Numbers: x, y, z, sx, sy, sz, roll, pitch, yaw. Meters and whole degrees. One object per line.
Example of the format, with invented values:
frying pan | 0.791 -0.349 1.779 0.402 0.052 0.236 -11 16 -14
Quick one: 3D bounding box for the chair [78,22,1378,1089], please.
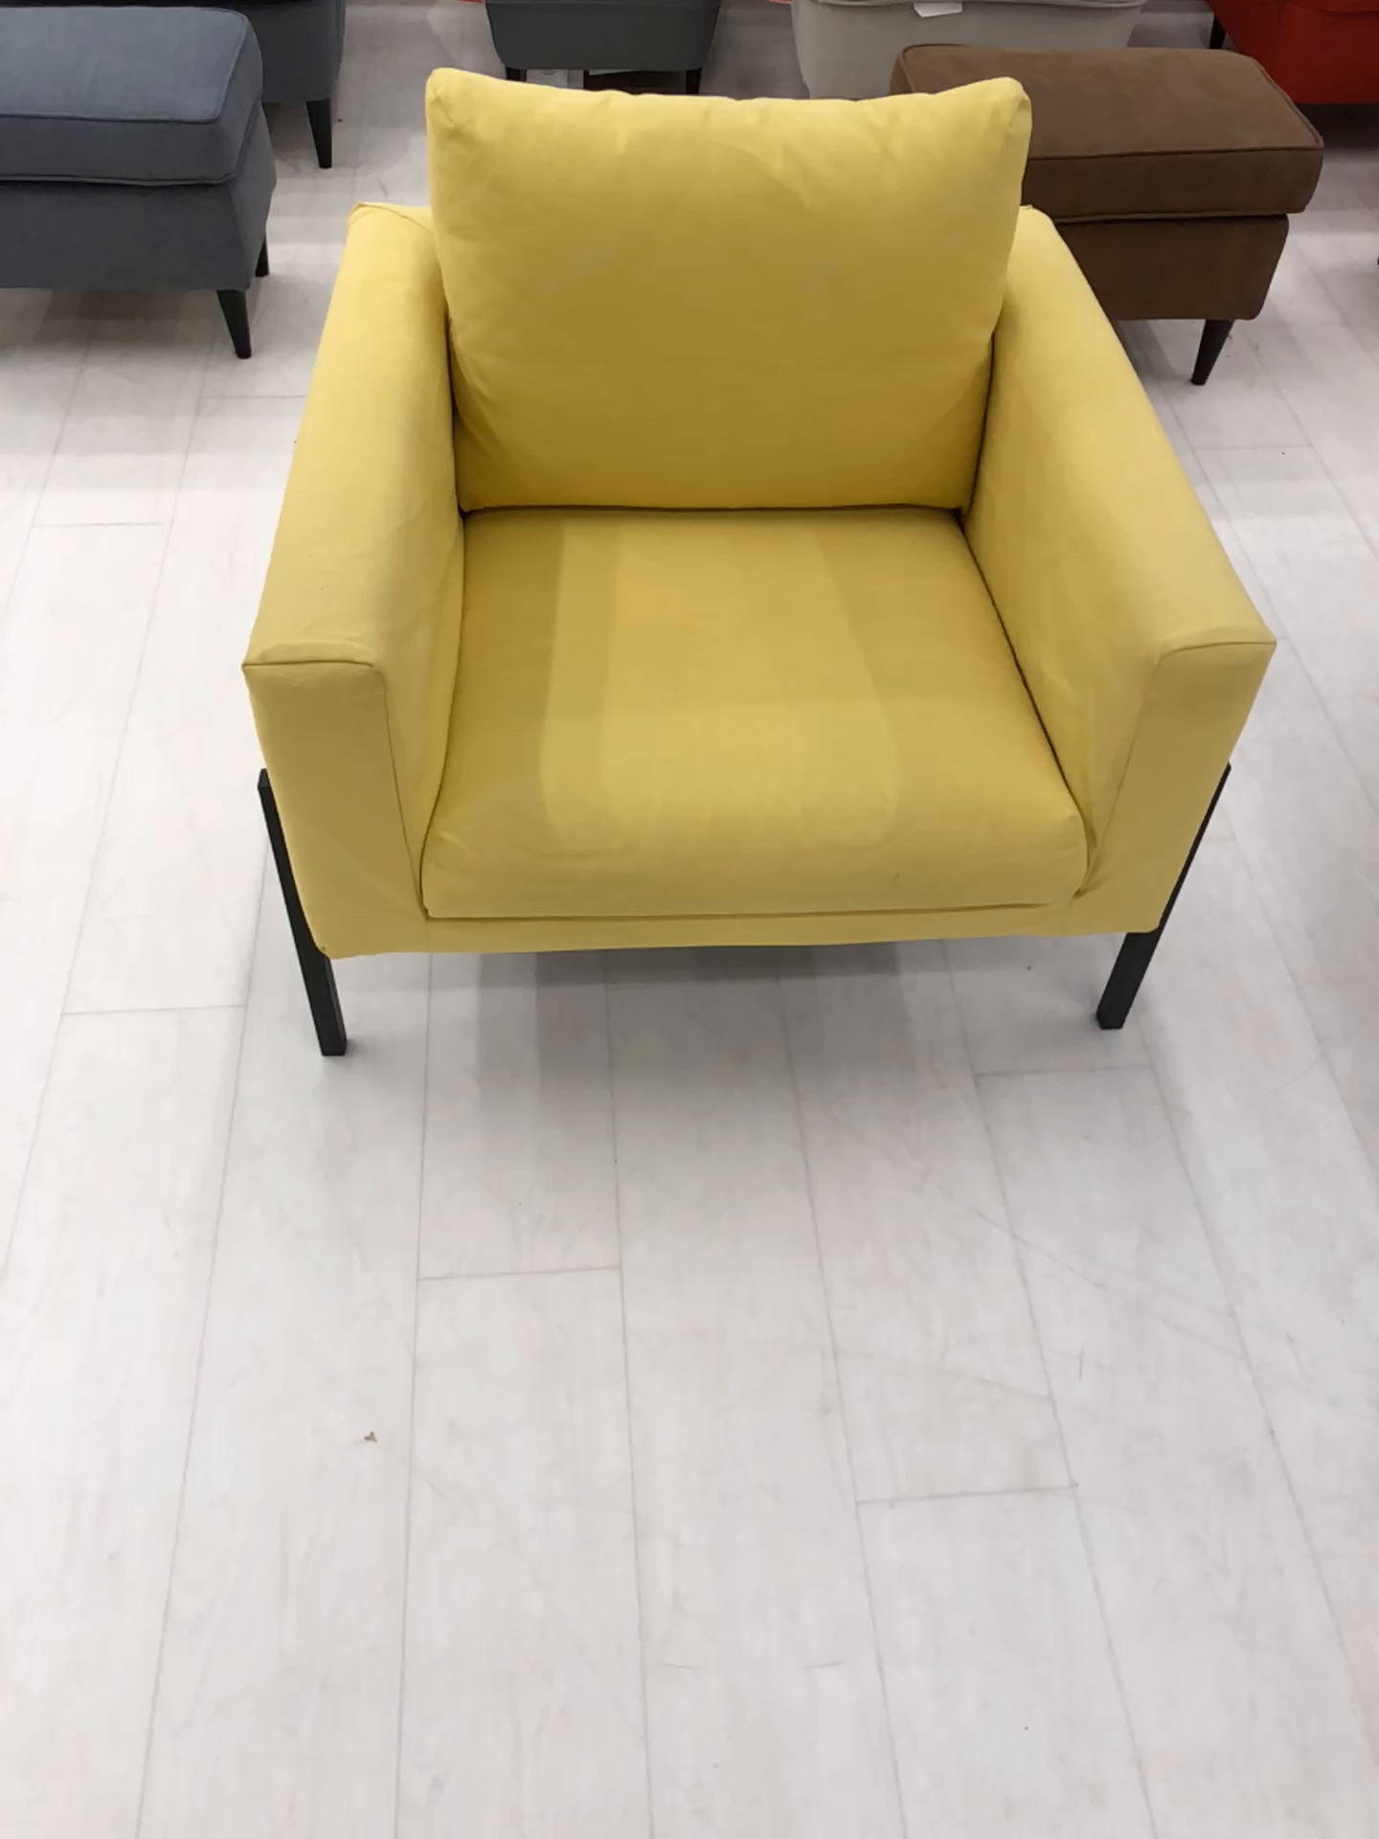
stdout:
chair | 0.050 -0.354 1.535 0.980 0.758 0.692 -2 51 -5
